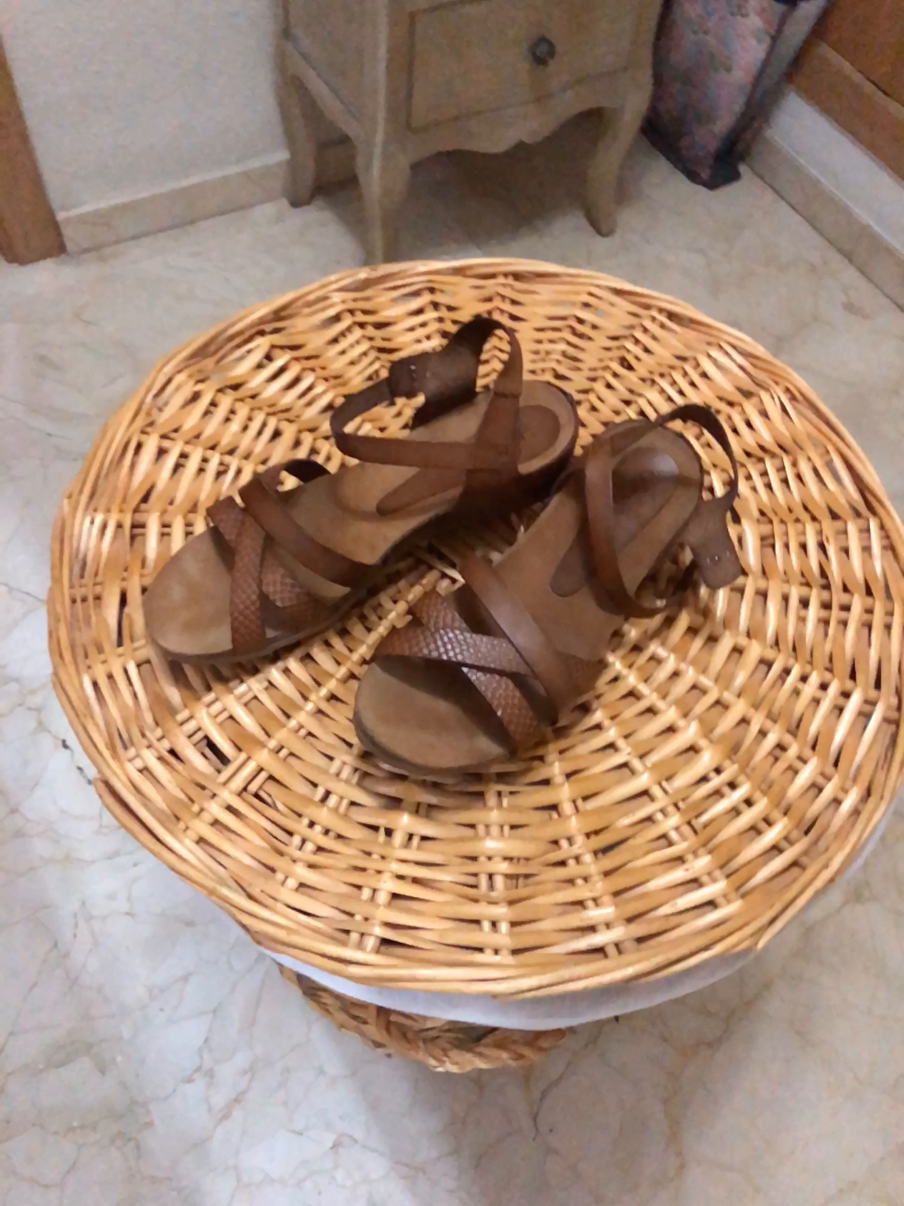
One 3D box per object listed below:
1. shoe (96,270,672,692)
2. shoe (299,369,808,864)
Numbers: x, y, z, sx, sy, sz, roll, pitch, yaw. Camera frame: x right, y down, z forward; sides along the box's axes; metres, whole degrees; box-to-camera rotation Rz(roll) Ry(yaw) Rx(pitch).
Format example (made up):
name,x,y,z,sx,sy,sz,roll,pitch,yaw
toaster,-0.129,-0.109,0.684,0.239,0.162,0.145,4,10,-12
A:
name,x,y,z,sx,sy,sz,roll,pitch,yaw
shoe,-0.032,-0.070,0.541,0.280,0.070,0.100,-26,63,-11
shoe,0.060,-0.006,0.524,0.100,0.060,0.281,40,62,18
